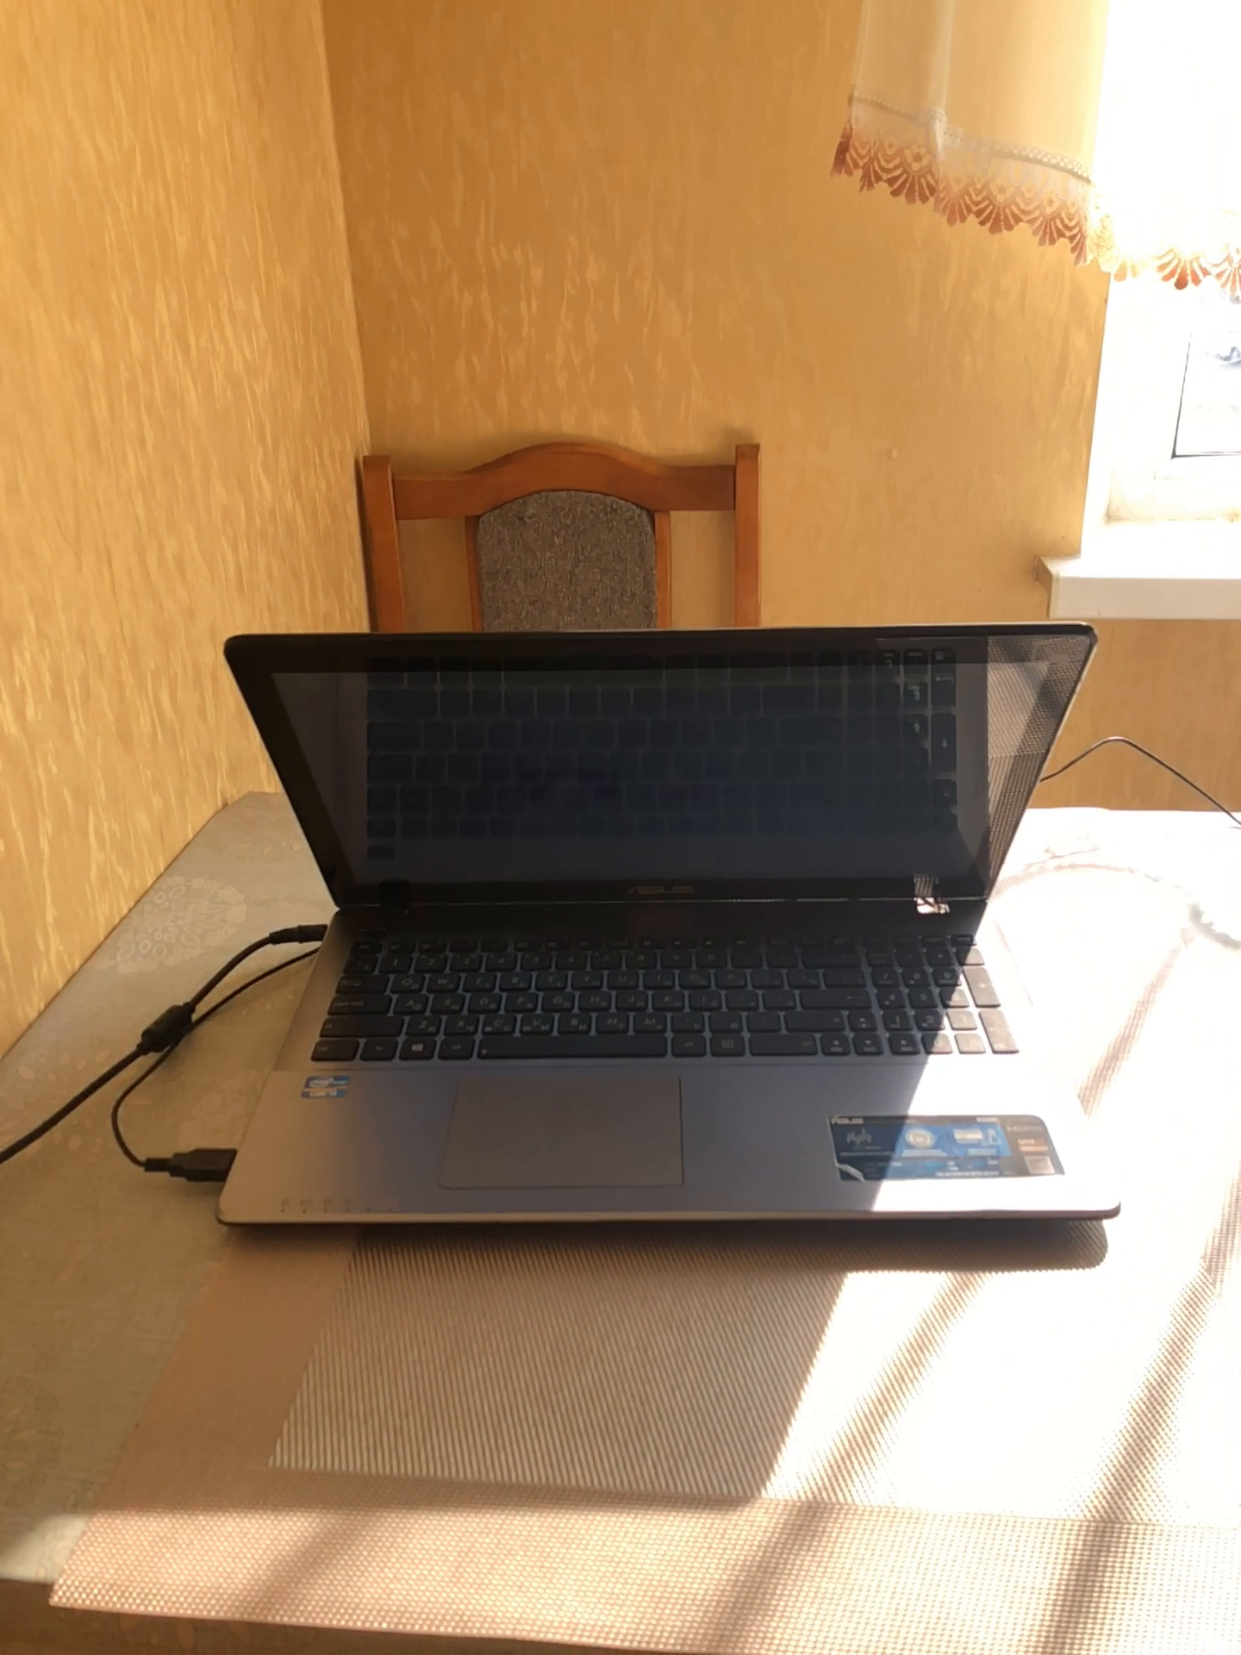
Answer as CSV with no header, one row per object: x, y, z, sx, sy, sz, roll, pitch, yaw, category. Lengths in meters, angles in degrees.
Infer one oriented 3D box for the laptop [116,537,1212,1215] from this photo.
0.017,0.006,0.600,0.362,0.200,0.245,-1,26,2,laptop
